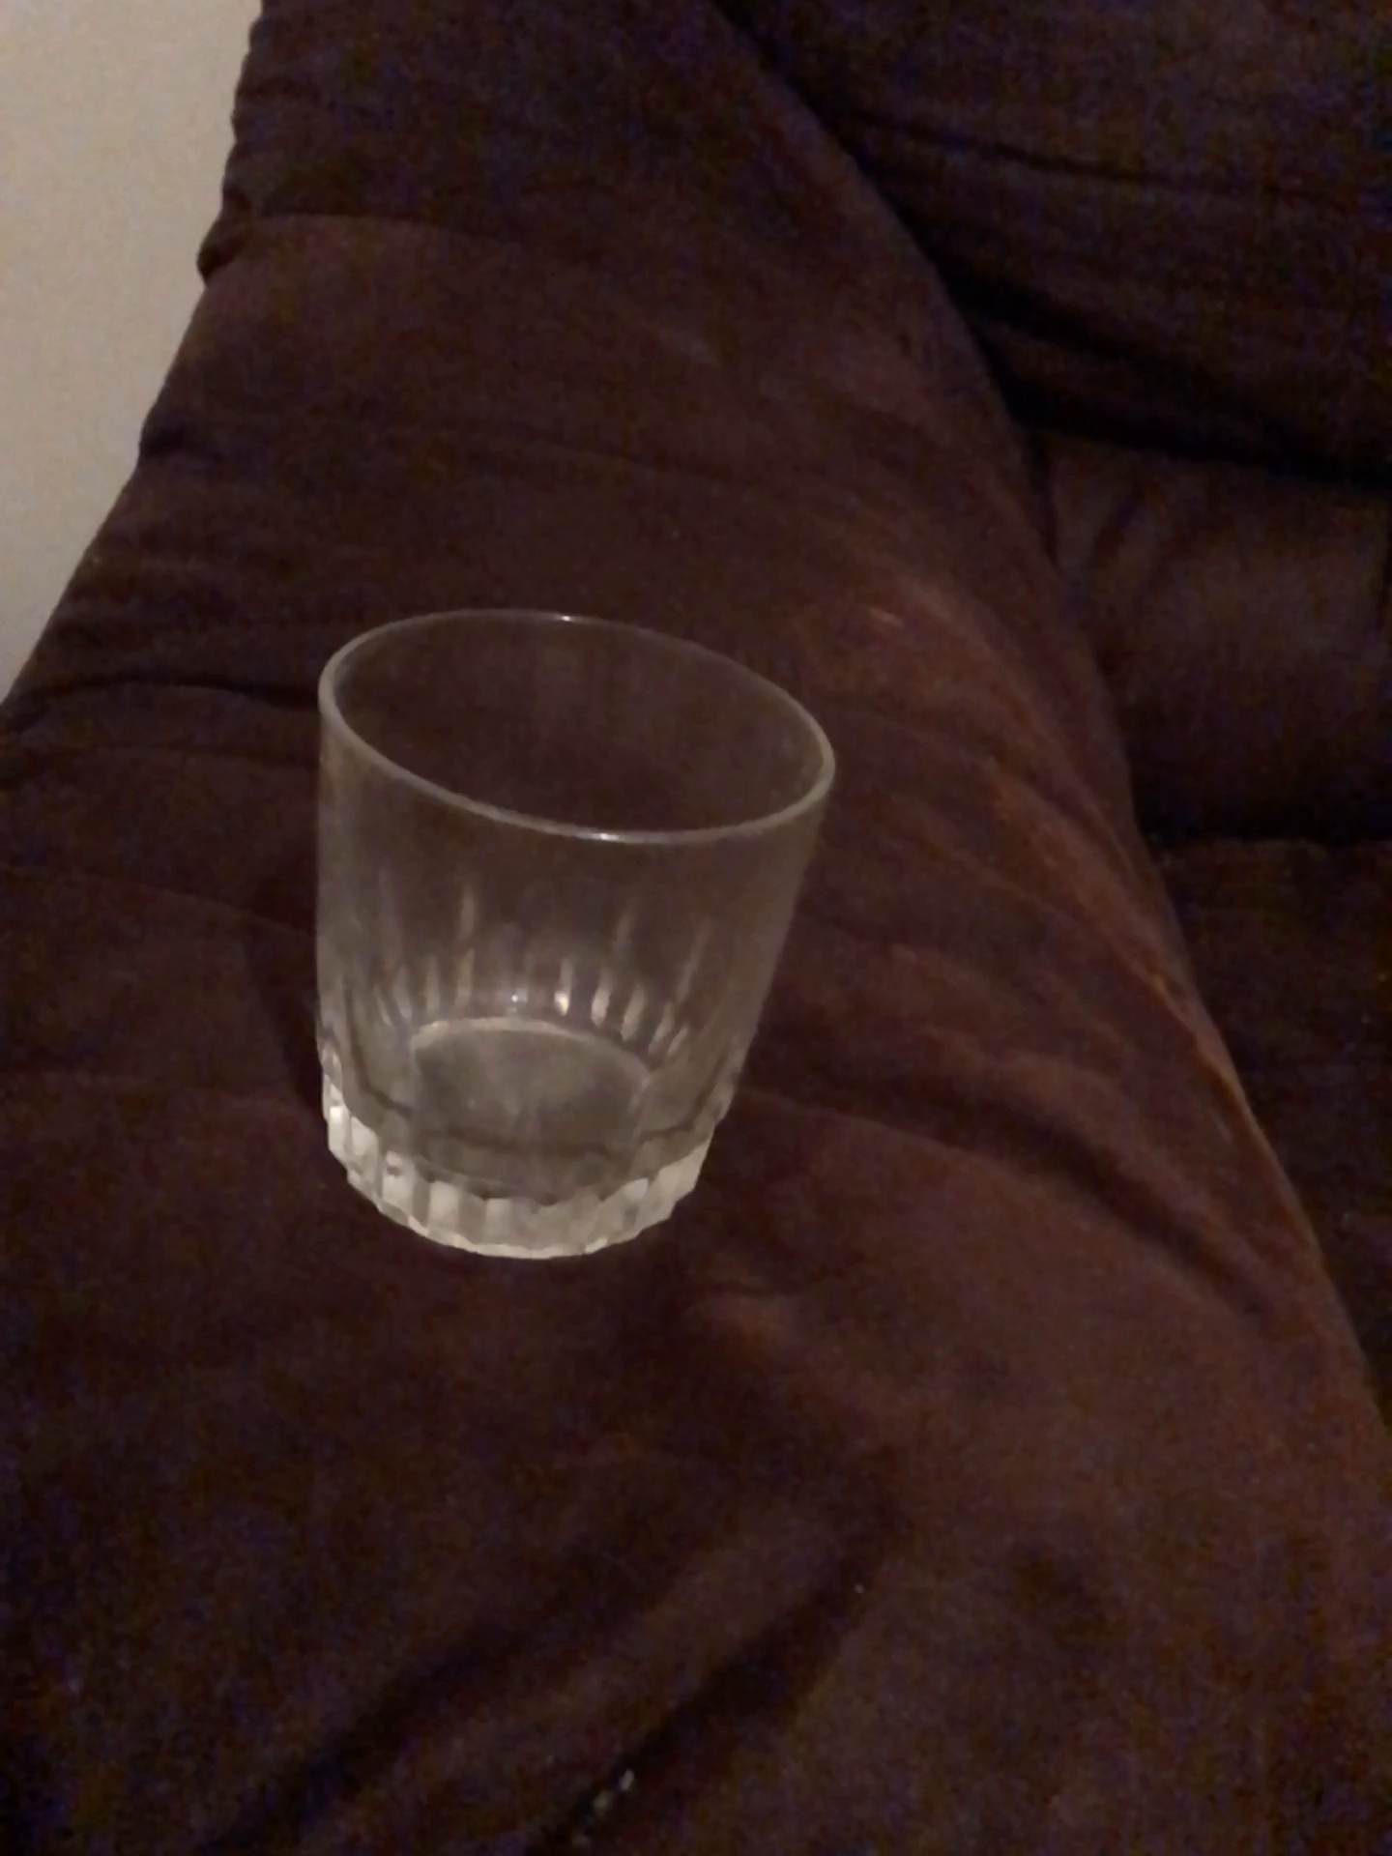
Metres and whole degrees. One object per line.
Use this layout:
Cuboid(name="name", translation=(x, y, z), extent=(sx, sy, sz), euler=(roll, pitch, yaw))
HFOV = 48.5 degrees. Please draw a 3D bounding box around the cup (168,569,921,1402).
Cuboid(name="cup", translation=(-0.023, 0.002, 0.255), extent=(0.086, 0.086, 0.087), euler=(9, 28, -5))
